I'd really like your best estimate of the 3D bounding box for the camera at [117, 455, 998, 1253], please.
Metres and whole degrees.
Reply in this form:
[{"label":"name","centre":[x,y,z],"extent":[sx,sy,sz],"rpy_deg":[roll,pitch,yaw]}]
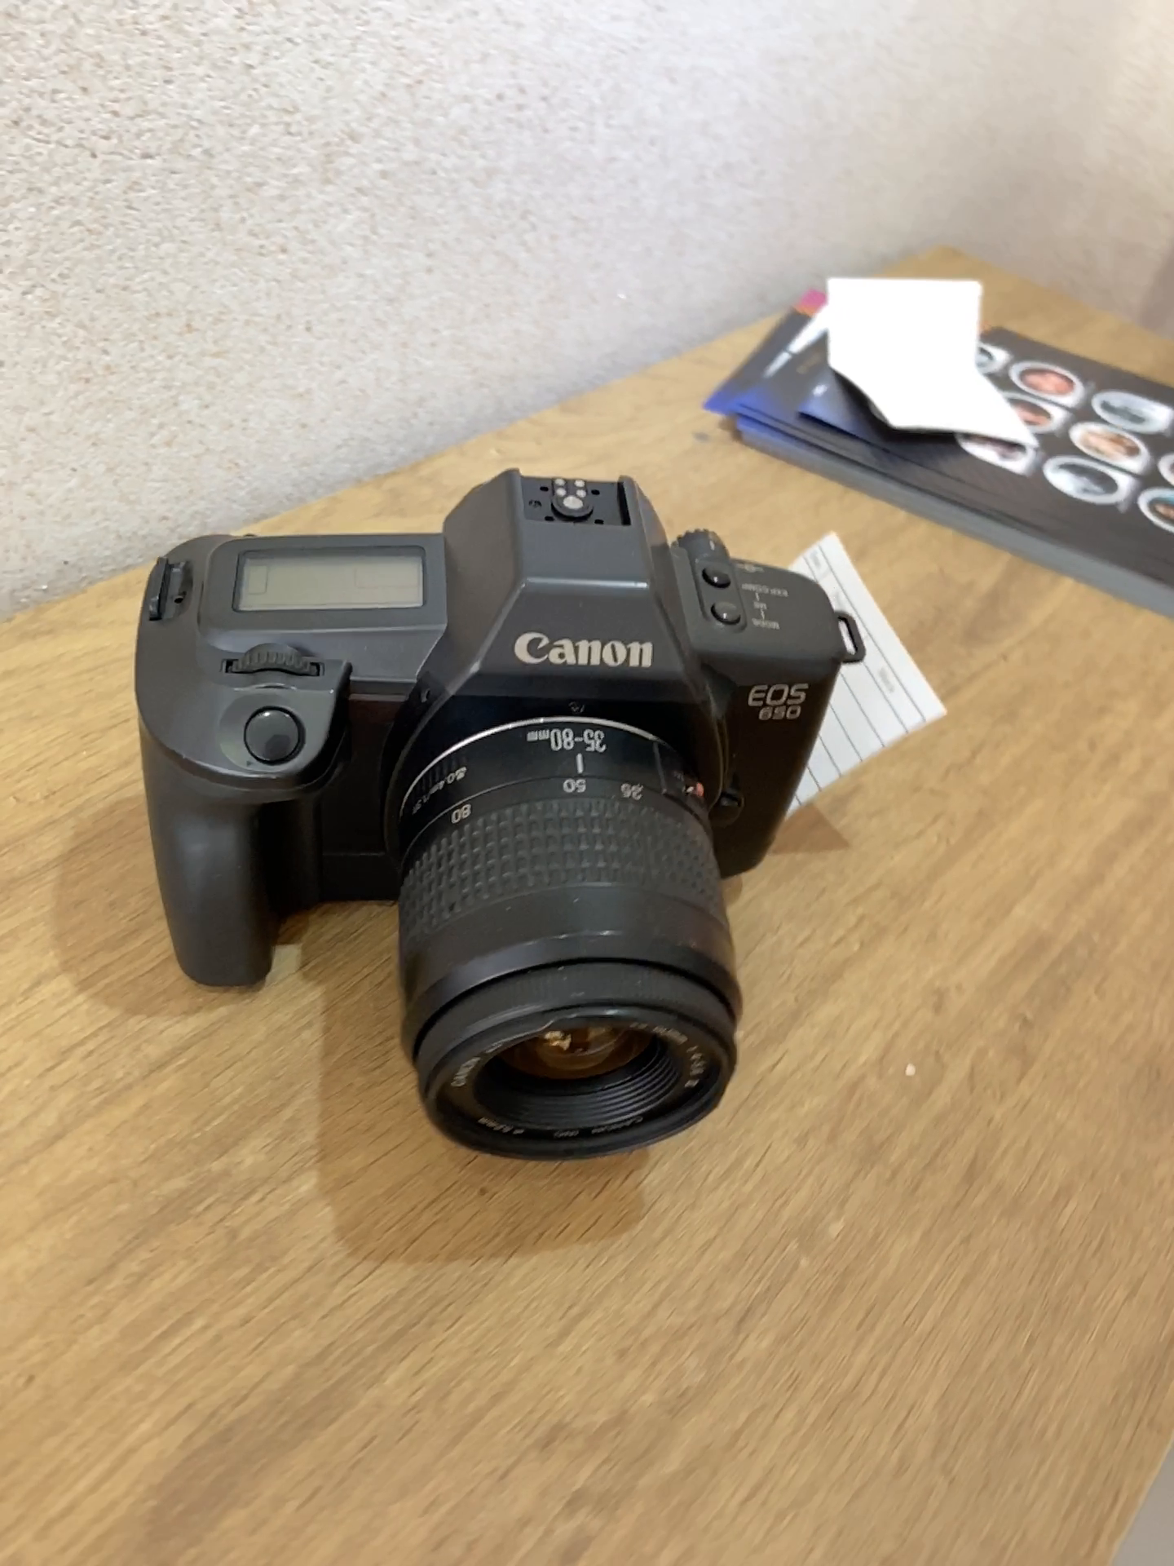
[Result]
[{"label":"camera","centre":[-0.016,0.009,0.275],"extent":[0.140,0.099,0.141],"rpy_deg":[-2,45,-11]}]
